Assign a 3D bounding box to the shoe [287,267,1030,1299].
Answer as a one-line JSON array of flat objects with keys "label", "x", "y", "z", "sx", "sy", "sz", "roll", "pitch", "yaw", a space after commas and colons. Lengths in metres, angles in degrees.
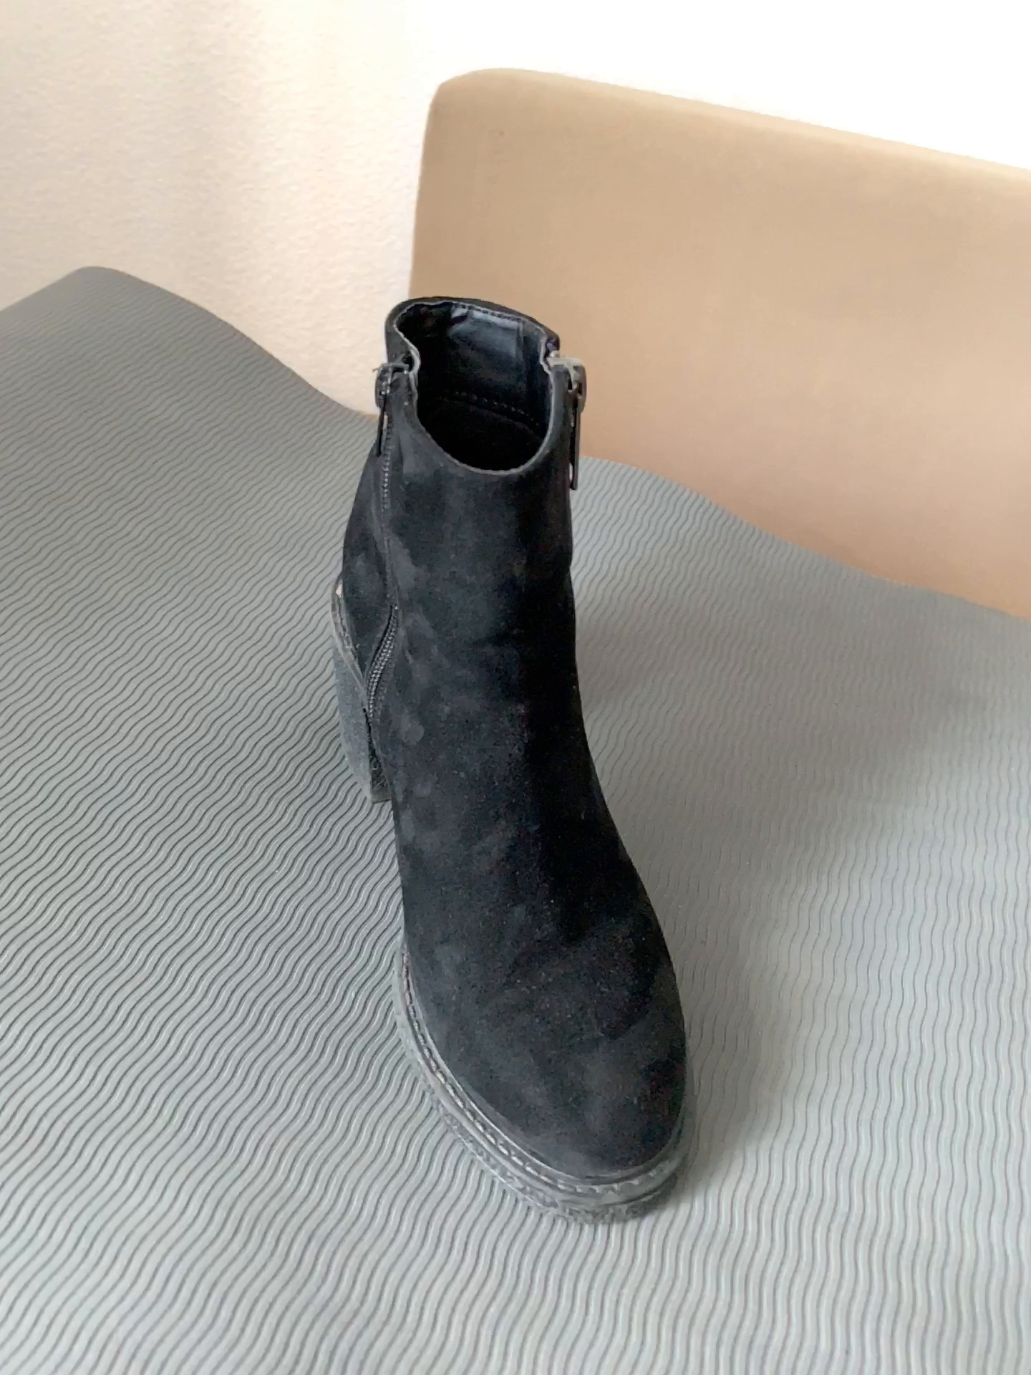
[{"label": "shoe", "x": 0.005, "y": 0.005, "z": 0.318, "sx": 0.098, "sy": 0.179, "sz": 0.241, "roll": -7, "pitch": 39, "yaw": -21}]
